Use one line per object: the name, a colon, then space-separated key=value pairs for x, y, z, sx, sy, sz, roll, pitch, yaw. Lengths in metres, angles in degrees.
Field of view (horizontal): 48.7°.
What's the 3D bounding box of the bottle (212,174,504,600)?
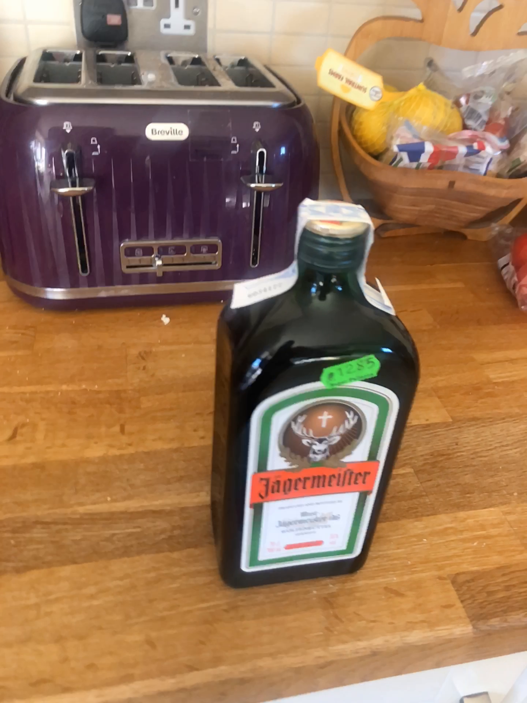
bottle: x=0.029 y=0.027 z=0.311 sx=0.100 sy=0.218 sz=0.081 roll=-3 pitch=36 yaw=-11
